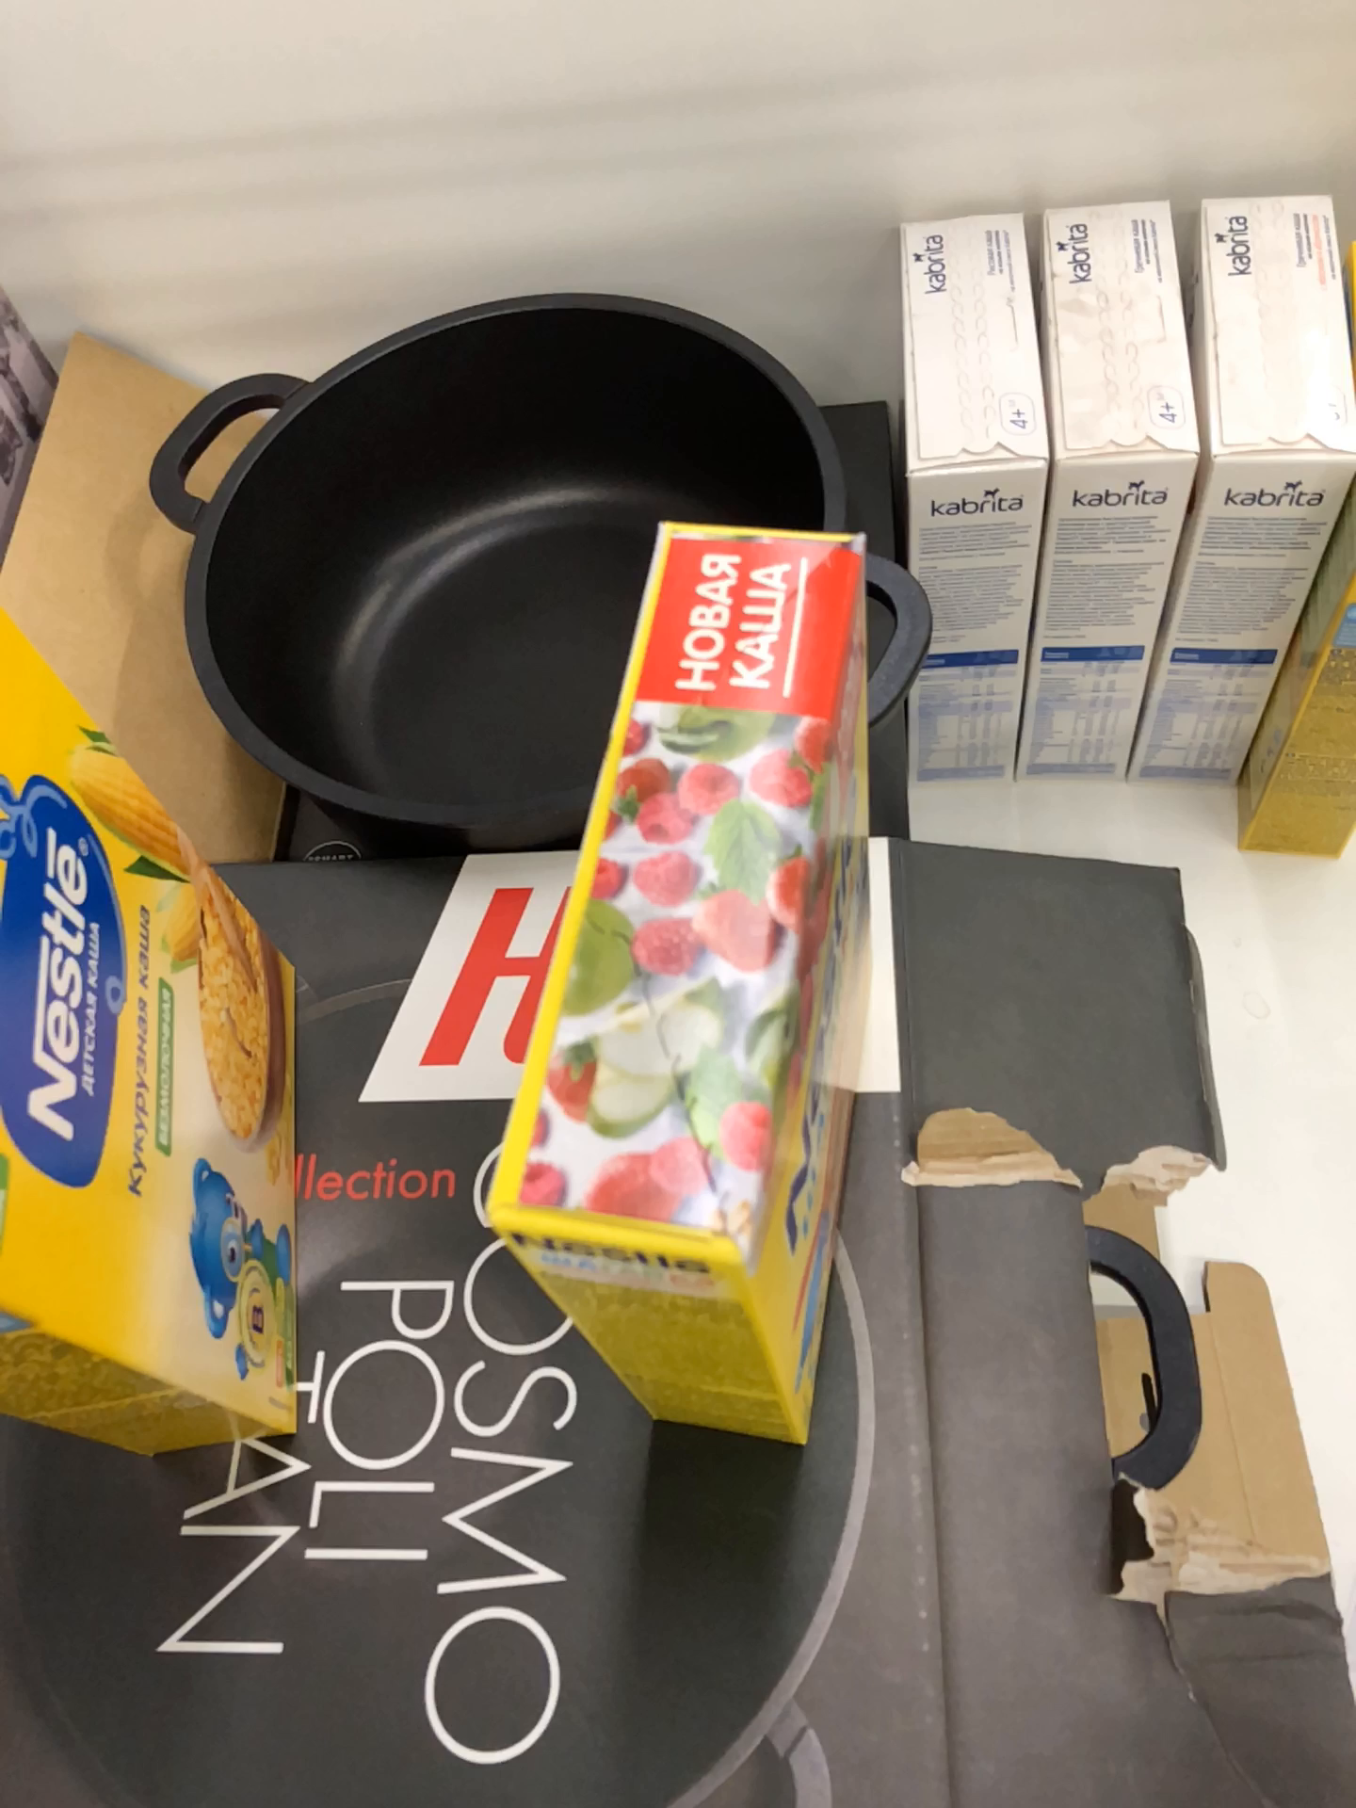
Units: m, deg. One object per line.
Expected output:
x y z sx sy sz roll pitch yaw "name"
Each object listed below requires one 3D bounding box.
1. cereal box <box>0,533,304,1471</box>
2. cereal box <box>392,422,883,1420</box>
-0.152 0.041 0.367 0.050 0.199 0.161 -10 62 3 "cereal box"
0.010 0.020 0.353 0.050 0.199 0.160 8 65 13 "cereal box"
